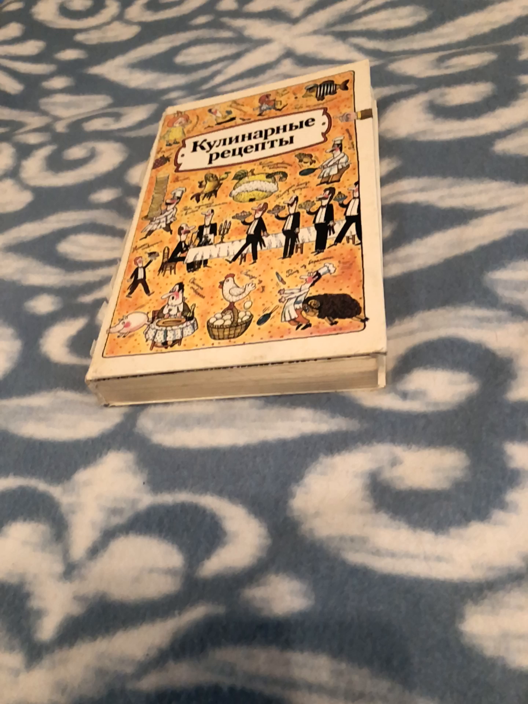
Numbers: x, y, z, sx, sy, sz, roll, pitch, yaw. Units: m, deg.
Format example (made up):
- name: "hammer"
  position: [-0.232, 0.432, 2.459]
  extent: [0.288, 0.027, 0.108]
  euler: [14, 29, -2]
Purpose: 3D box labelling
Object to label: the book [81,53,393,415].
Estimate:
- name: "book"
  position: [-0.008, -0.076, 0.332]
  extent: [0.142, 0.032, 0.221]
  euler: [-7, 54, 16]
